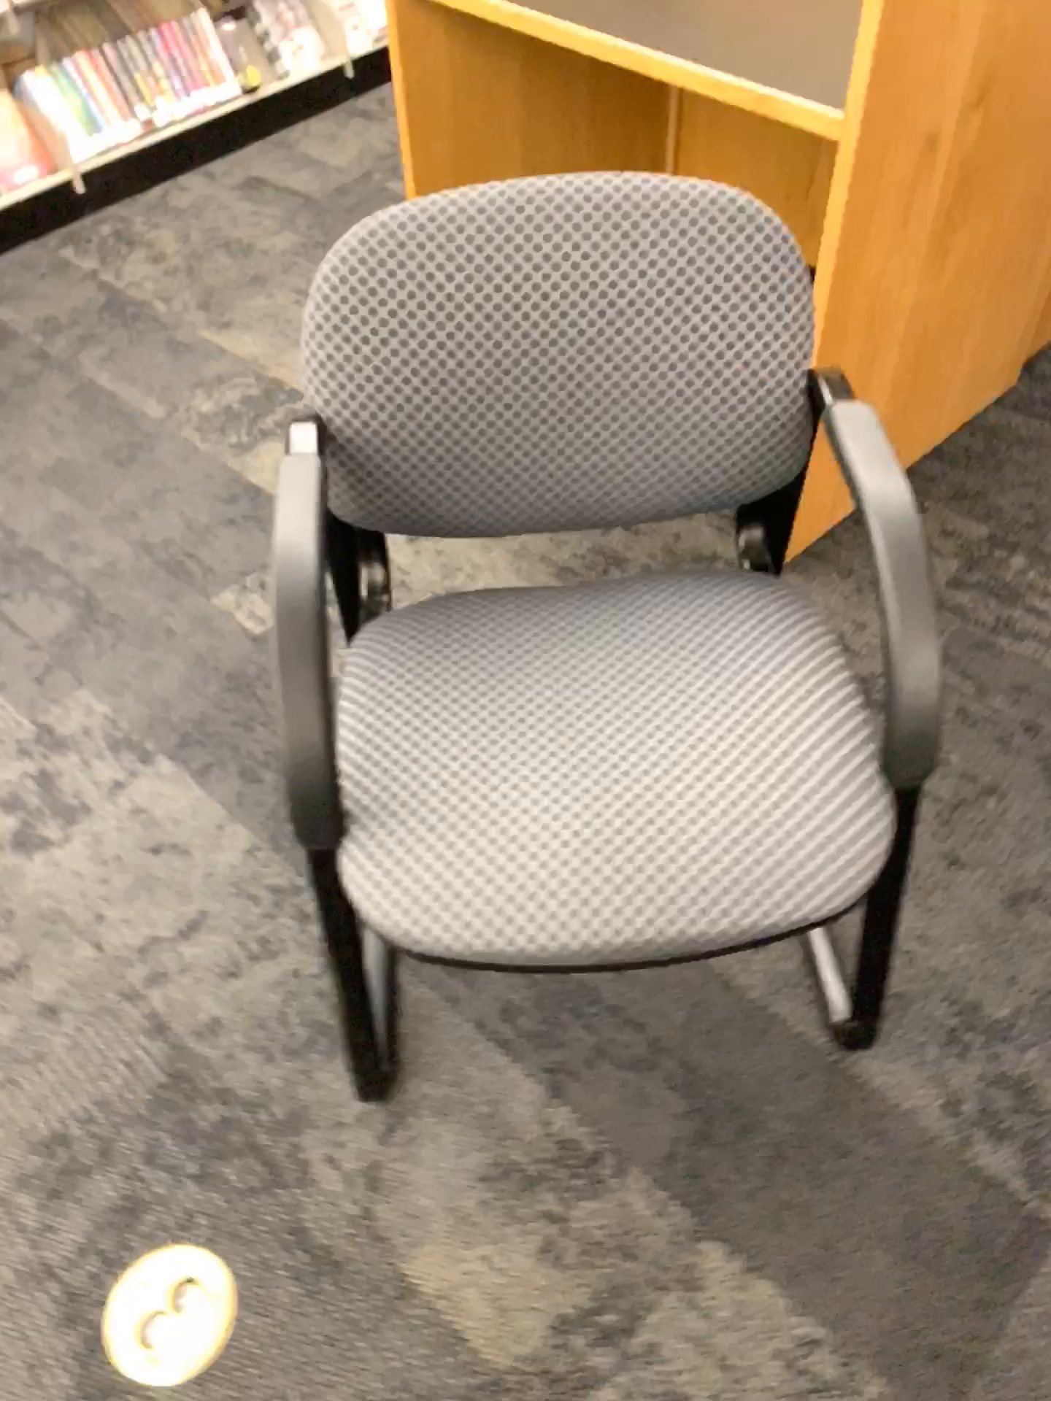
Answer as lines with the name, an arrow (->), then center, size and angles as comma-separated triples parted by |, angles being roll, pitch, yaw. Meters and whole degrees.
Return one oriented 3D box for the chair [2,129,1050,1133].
chair -> 0.040, -0.066, 1.135 | 0.730, 0.678, 0.722 | -5, 49, -1
